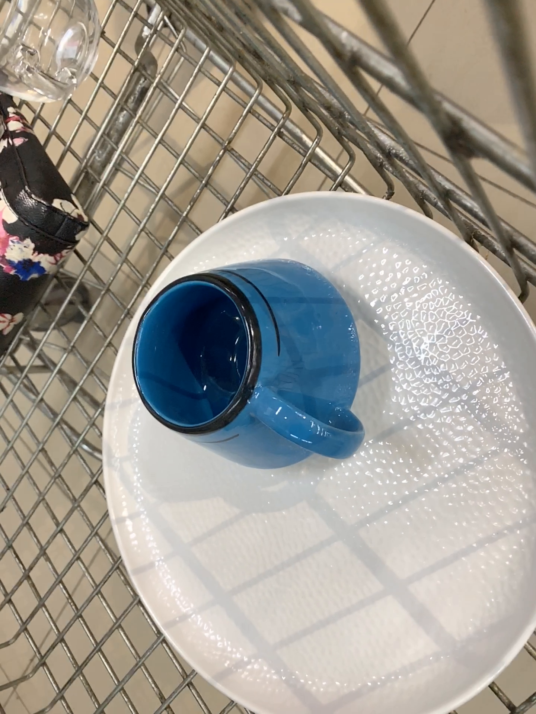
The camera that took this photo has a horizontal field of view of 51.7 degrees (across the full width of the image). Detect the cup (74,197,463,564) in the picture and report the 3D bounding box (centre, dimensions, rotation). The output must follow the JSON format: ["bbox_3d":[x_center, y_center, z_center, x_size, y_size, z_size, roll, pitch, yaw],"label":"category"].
[{"bbox_3d":[0.000,0.004,0.262,0.130,0.090,0.100,30,103,27],"label":"cup"}]
